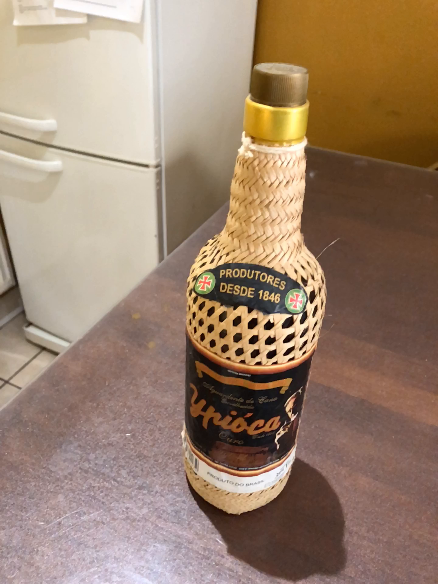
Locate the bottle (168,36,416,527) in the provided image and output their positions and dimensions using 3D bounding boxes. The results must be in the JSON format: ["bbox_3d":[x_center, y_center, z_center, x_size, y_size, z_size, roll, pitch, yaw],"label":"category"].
[{"bbox_3d":[0.028,0.020,0.328,0.100,0.327,0.091,6,36,4],"label":"bottle"}]
